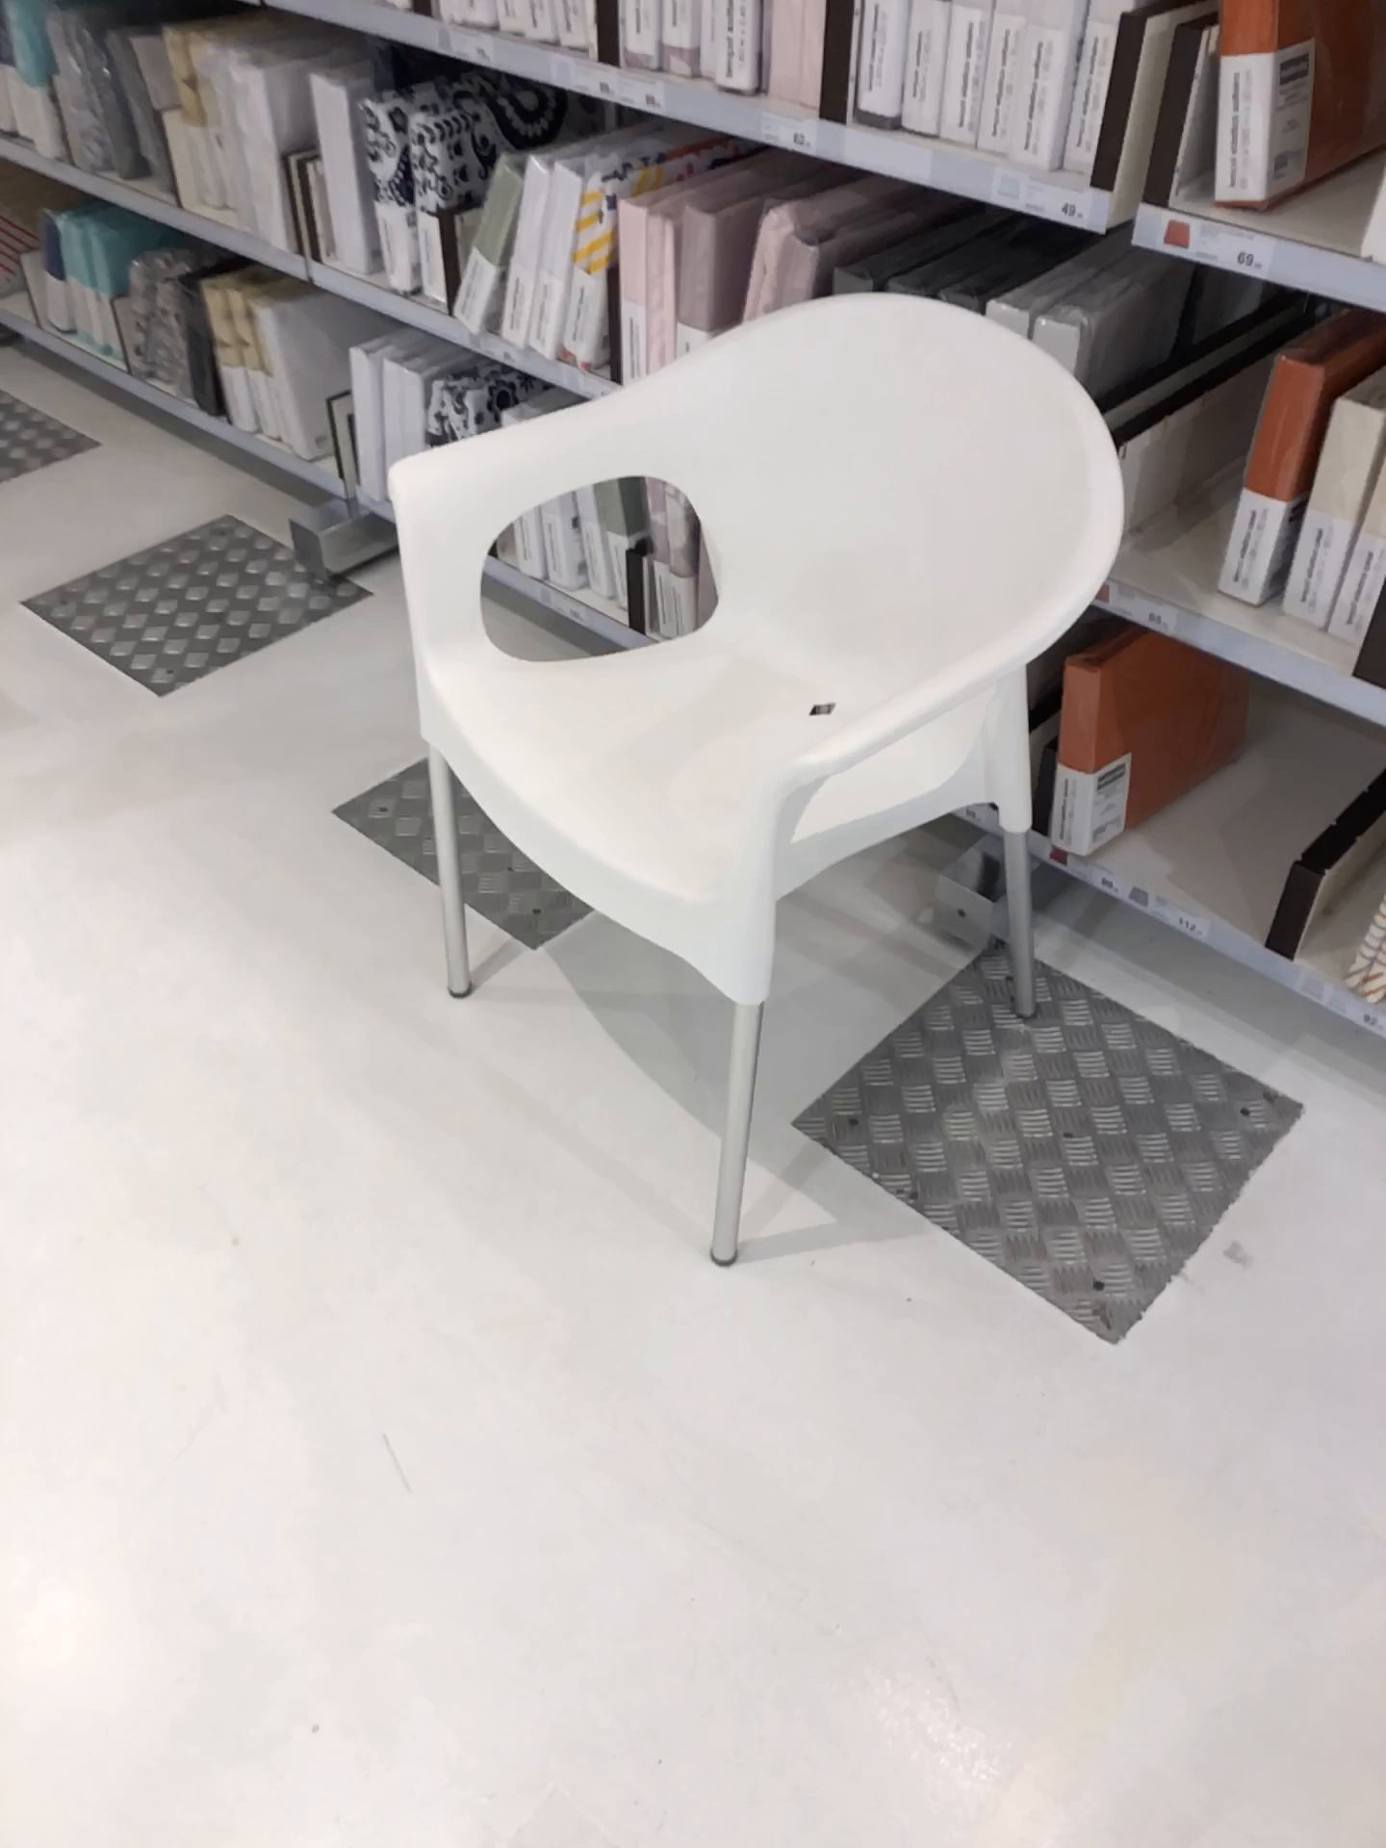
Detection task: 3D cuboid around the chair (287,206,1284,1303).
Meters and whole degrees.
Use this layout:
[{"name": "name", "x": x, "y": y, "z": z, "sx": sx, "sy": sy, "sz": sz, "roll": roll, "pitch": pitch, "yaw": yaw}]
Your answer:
[{"name": "chair", "x": 0.063, "y": -0.185, "z": 1.461, "sx": 0.552, "sy": 0.704, "sz": 0.593, "roll": -29, "pitch": 49, "yaw": -27}]
